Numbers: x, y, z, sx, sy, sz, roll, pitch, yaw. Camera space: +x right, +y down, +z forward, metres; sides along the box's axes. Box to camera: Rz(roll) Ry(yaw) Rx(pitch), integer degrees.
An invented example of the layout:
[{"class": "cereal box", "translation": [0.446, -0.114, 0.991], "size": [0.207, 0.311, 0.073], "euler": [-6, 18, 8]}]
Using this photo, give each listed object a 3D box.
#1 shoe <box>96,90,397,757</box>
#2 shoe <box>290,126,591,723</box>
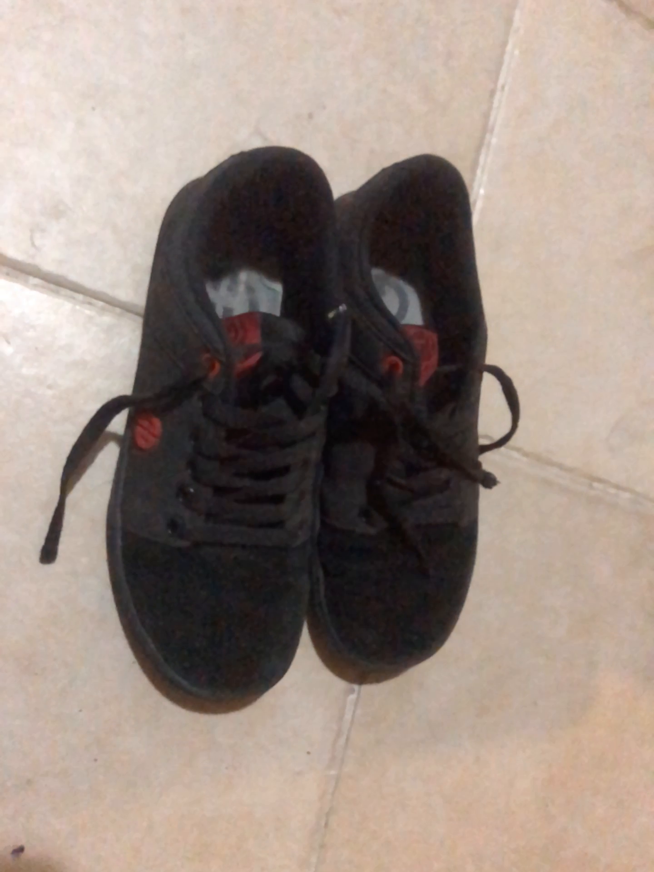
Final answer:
[{"class": "shoe", "translation": [-0.039, -0.003, 0.327], "size": [0.100, 0.100, 0.240], "euler": [4, 85, -24]}, {"class": "shoe", "translation": [0.049, -0.004, 0.358], "size": [0.100, 0.100, 0.240], "euler": [0, 87, -24]}]
